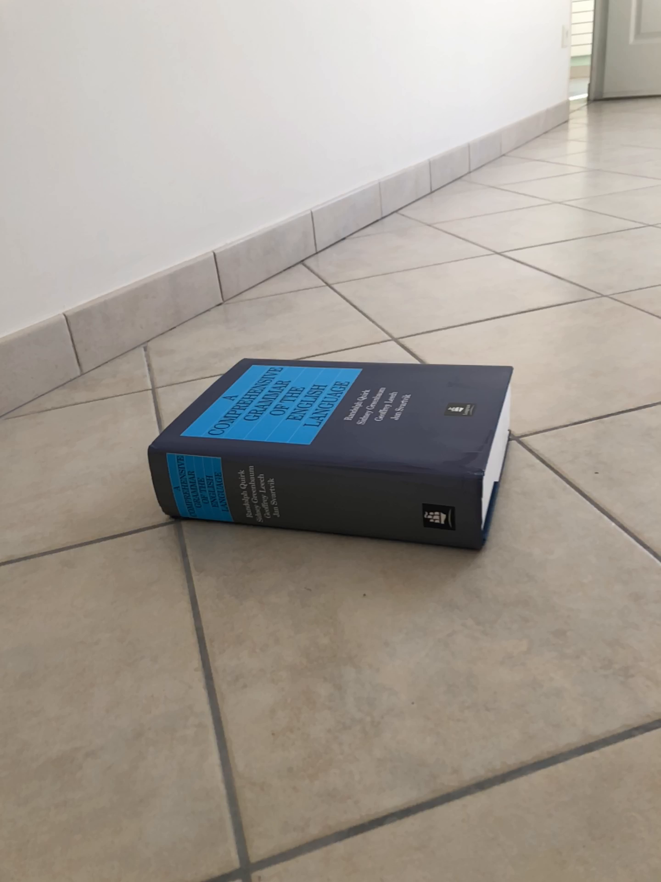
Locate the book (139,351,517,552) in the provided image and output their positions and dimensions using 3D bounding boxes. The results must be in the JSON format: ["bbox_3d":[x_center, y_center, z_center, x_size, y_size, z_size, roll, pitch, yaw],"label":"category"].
[{"bbox_3d":[0.011,-0.005,0.588,0.256,0.066,0.182,3,30,19],"label":"book"}]
